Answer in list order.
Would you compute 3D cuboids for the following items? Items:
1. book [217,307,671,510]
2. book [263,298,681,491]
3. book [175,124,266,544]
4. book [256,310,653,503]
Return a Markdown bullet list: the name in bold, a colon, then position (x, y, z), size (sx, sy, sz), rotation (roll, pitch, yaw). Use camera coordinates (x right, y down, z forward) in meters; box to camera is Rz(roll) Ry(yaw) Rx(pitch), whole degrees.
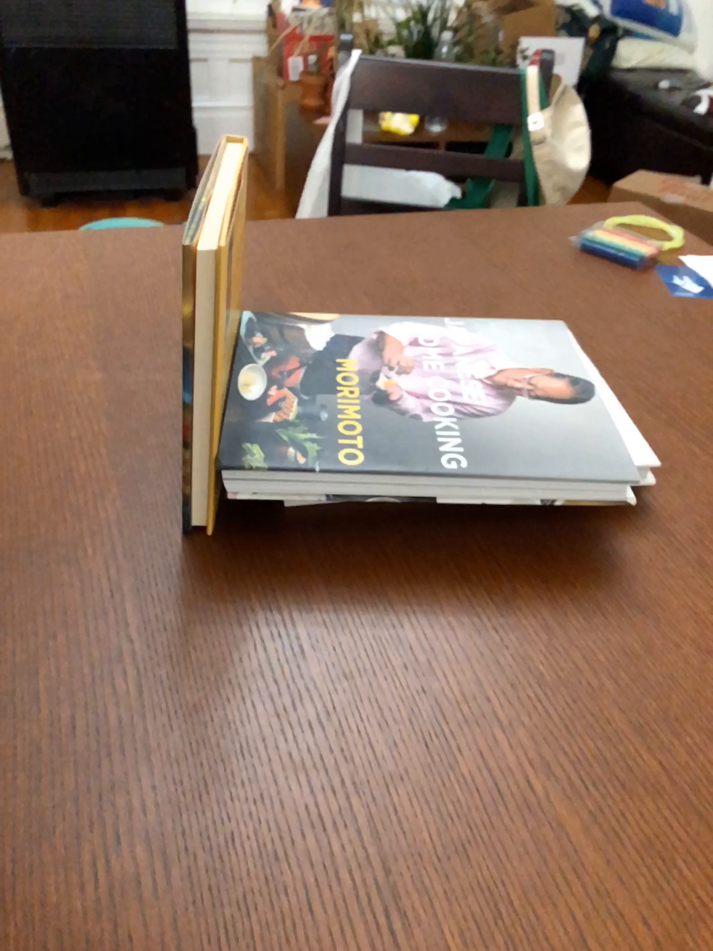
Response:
- **book**: position (0.049, -0.058, 0.578), size (0.280, 0.030, 0.221), rotation (0, 38, -4)
- **book**: position (0.073, -0.077, 0.630), size (0.280, 0.030, 0.221), rotation (-3, 38, -8)
- **book**: position (-0.089, -0.102, 0.546), size (0.030, 0.209, 0.211), rotation (4, 38, -5)
- **book**: position (0.065, -0.071, 0.667), size (0.280, 0.030, 0.221), rotation (-5, 38, -10)
